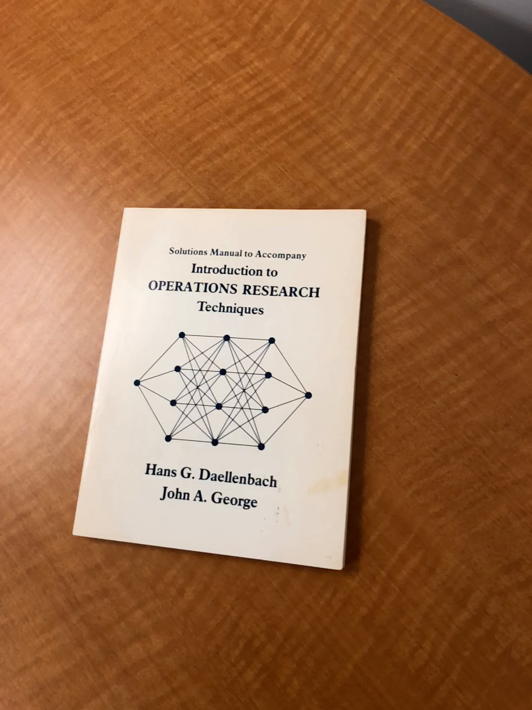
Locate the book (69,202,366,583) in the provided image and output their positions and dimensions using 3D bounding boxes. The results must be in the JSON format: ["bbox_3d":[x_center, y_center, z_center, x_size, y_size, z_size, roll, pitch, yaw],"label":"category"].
[{"bbox_3d":[-0.028,0.014,0.406,0.180,0.020,0.250,3,77,10],"label":"book"}]
